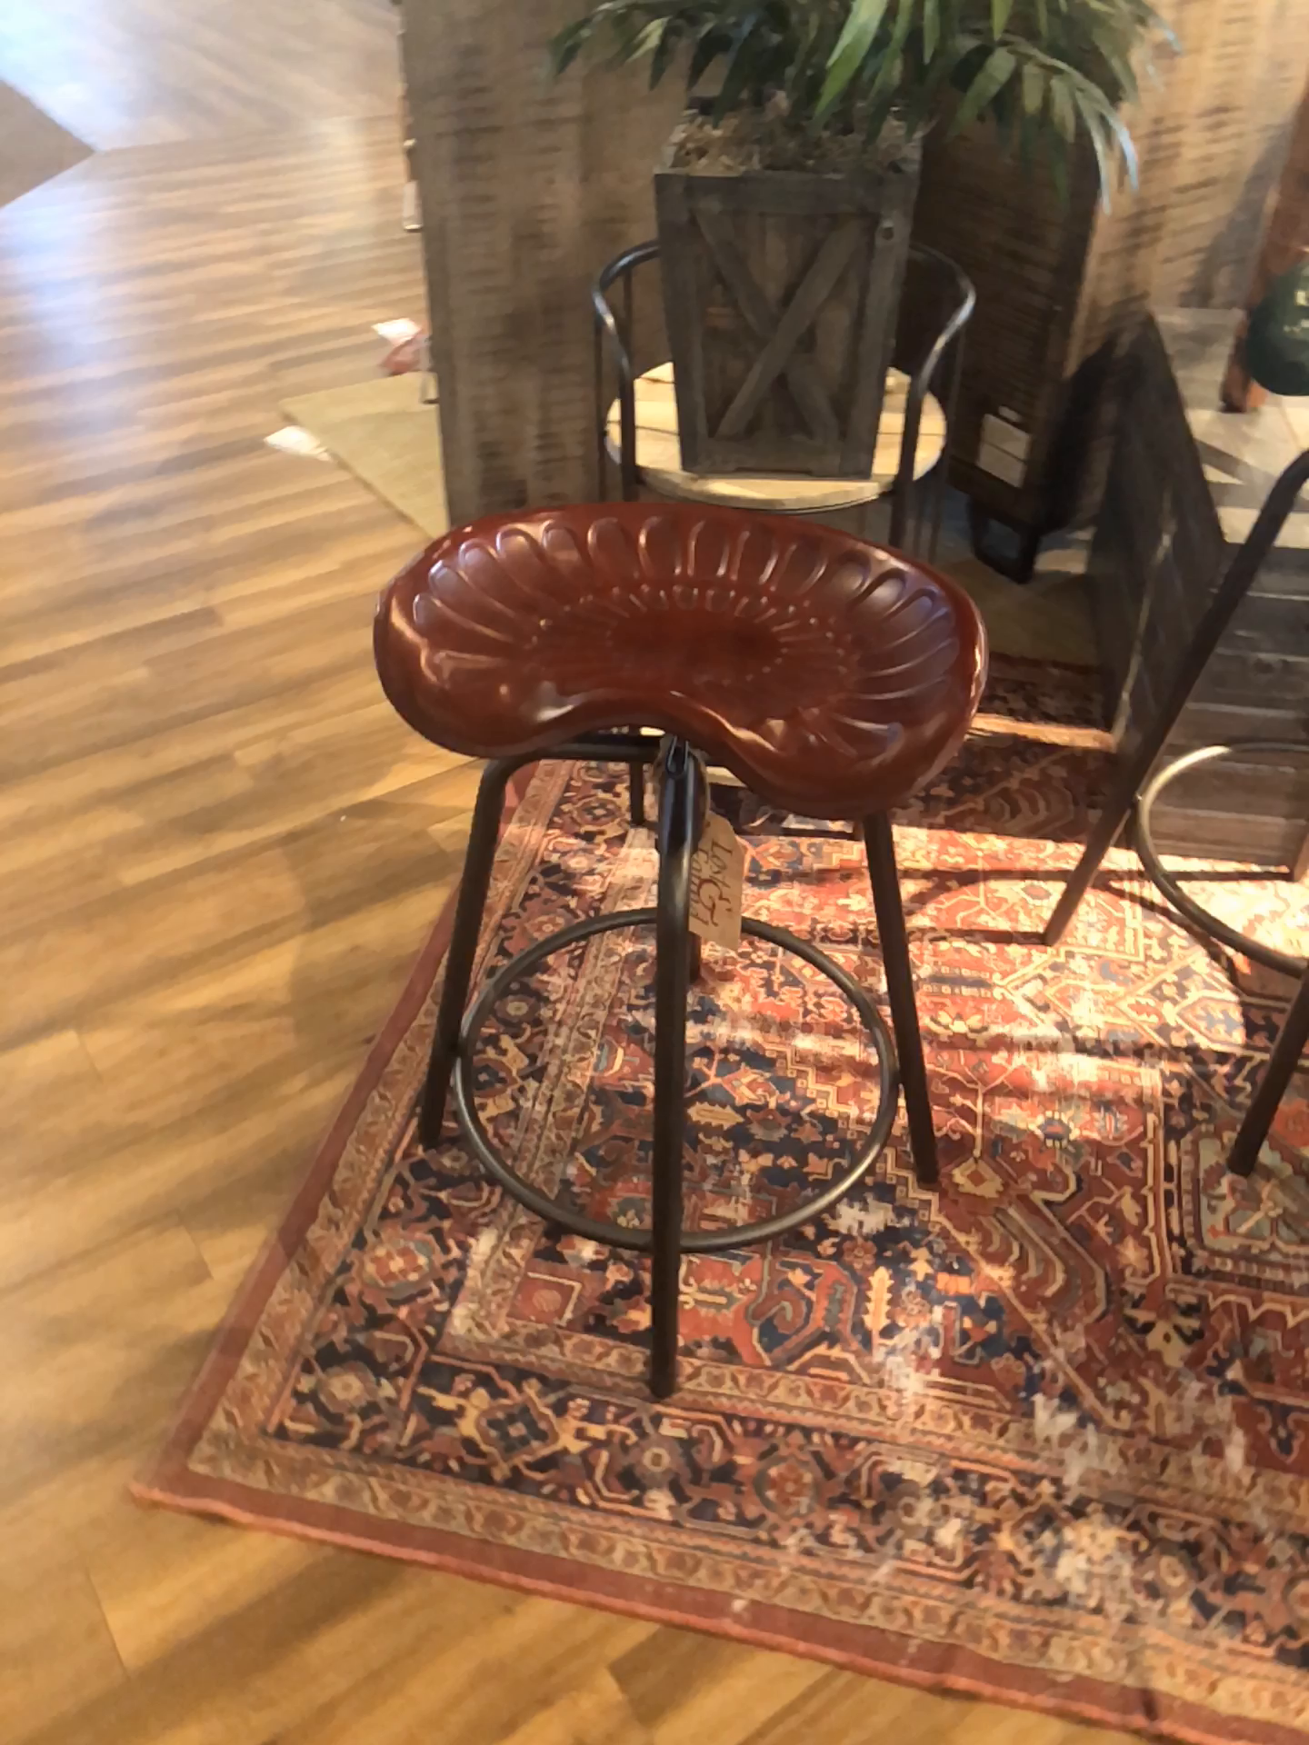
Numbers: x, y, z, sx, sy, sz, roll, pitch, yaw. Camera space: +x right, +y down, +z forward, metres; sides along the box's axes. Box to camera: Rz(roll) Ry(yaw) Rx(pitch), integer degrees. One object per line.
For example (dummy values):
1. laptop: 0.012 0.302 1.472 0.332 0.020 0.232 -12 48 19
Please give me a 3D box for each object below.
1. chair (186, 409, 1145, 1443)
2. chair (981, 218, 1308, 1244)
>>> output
1. chair: 0.028 0.030 1.276 0.567 0.627 0.613 5 41 4
2. chair: 0.794 -0.157 1.431 0.610 0.736 0.539 -15 43 -18
